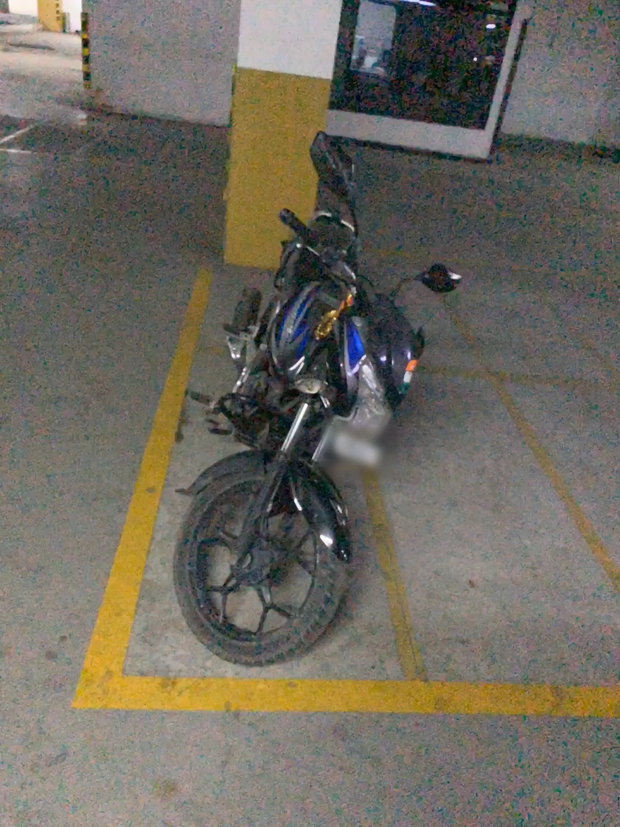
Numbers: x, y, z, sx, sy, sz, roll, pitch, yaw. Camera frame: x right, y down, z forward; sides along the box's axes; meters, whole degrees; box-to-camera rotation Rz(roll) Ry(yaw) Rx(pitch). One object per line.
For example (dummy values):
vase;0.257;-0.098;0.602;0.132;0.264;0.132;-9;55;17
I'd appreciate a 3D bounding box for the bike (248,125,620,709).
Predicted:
bike;0.287;-0.260;2.466;0.850;1.205;2.222;3;30;-10
